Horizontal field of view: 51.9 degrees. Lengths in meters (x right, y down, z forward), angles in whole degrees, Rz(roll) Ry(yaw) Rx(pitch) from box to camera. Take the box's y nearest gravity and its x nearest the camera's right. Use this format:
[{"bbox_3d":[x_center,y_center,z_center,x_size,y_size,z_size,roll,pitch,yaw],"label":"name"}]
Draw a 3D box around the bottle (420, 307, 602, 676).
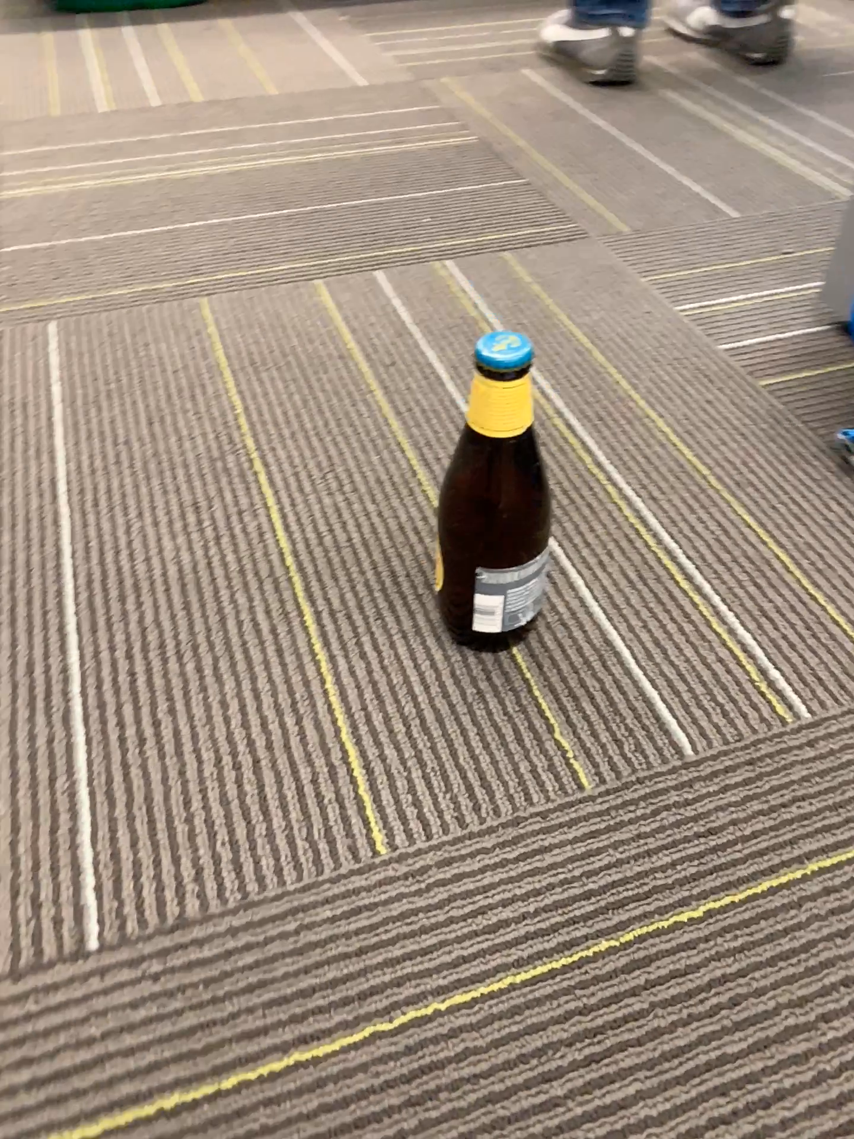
[{"bbox_3d":[0.038,-0.034,0.458,0.060,0.179,0.060,0,44,0],"label":"bottle"}]
